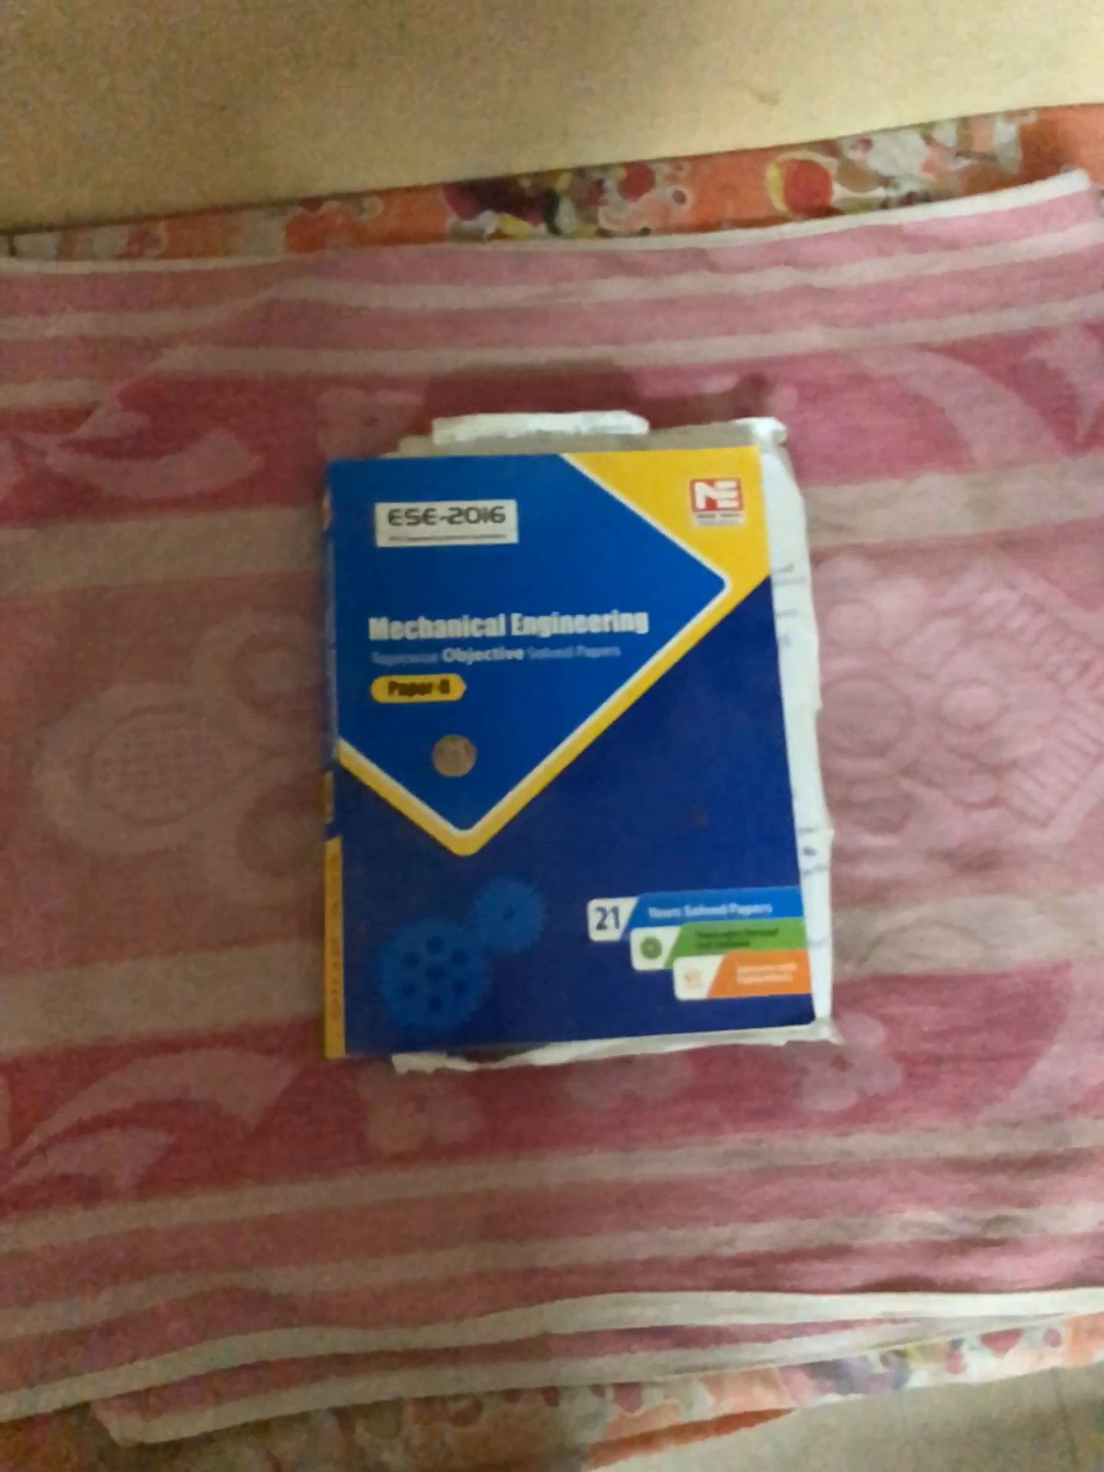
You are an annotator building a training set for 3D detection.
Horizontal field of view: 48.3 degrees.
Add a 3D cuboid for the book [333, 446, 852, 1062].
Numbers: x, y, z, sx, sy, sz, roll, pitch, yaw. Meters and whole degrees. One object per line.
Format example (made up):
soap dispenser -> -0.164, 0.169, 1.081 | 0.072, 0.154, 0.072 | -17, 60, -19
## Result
book -> 0.012, 0.005, 0.577 | 0.215, 0.055, 0.270 | -3, 78, -4
